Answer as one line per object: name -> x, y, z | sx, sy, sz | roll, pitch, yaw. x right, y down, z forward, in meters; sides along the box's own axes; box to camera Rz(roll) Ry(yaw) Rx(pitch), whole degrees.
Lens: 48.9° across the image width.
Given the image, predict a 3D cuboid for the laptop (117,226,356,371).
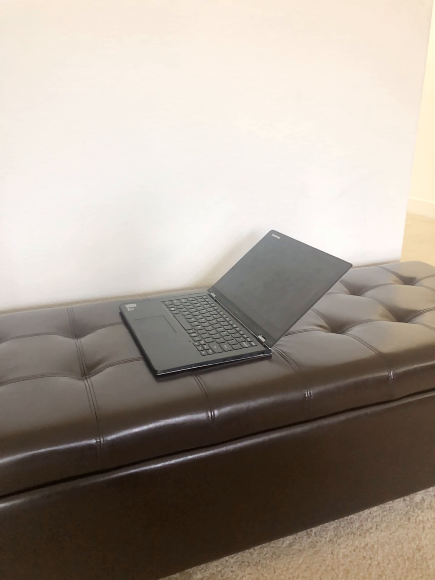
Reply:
laptop -> 0.017, -0.009, 0.813 | 0.317, 0.115, 0.262 | -9, 22, -21
